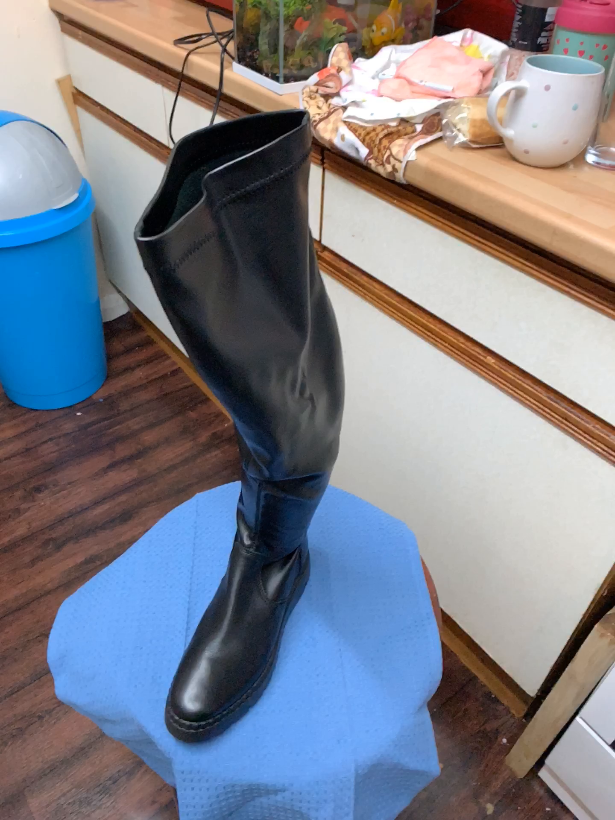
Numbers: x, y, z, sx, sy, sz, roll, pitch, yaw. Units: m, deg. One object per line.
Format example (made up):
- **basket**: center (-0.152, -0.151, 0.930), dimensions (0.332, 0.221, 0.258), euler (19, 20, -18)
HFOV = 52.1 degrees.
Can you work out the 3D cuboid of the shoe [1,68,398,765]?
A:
- **shoe**: center (-0.049, 0.039, 0.539), dimensions (0.107, 0.535, 0.273), euler (17, 42, 15)
